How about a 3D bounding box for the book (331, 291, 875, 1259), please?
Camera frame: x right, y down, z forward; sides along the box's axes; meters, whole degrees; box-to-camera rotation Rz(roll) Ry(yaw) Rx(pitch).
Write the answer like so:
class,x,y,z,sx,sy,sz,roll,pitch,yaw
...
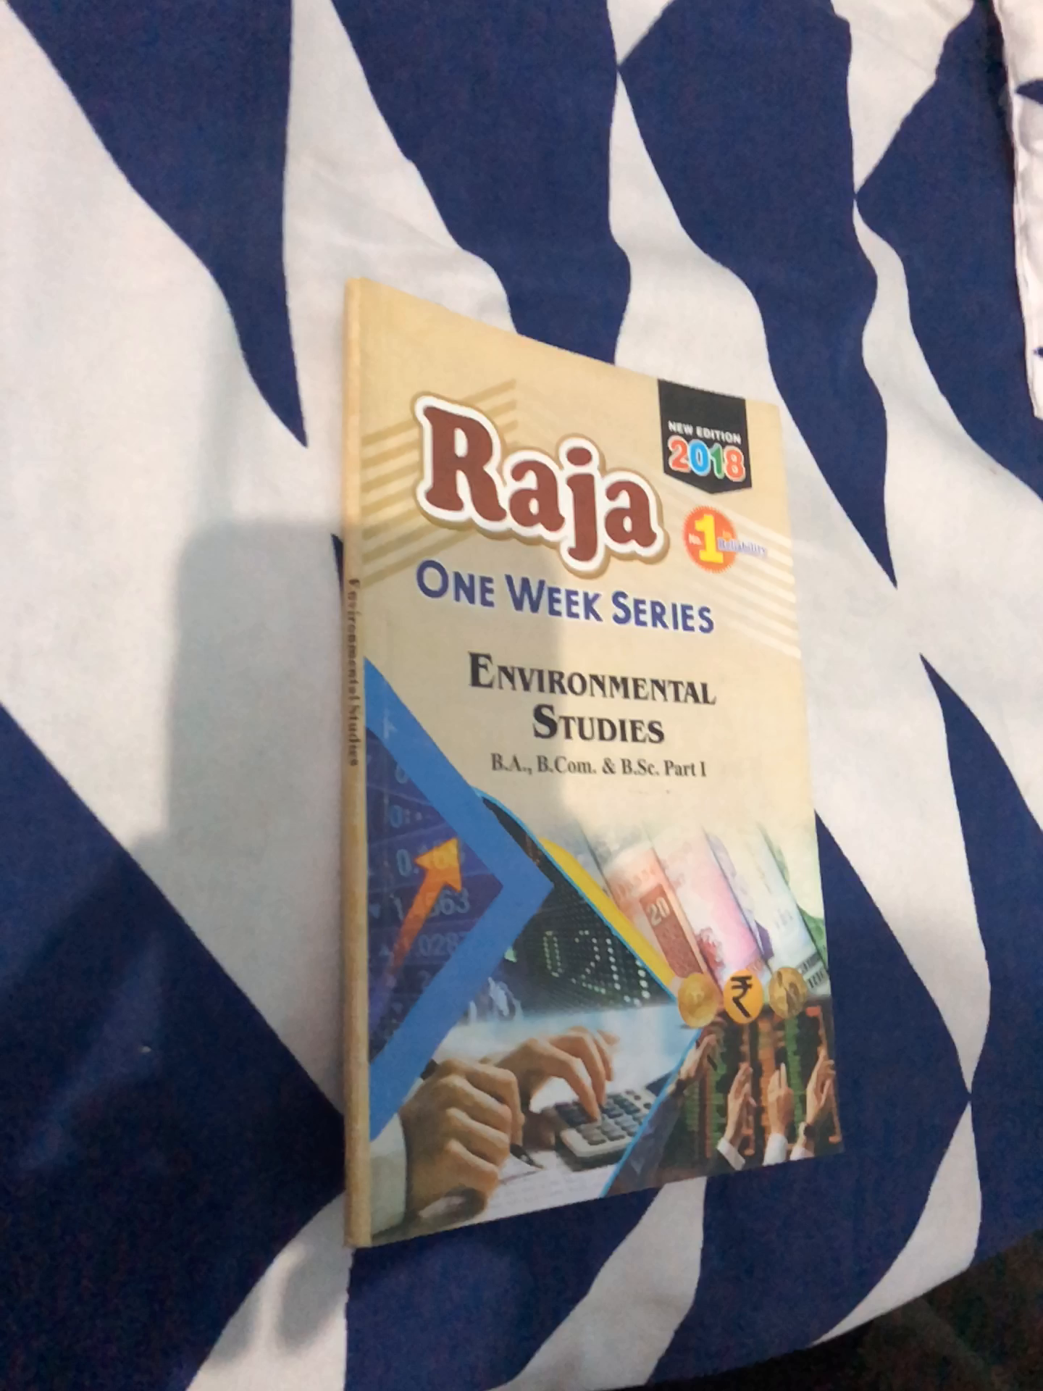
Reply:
class,x,y,z,sx,sy,sz,roll,pitch,yaw
book,0.022,0.014,0.279,0.141,0.010,0.200,5,77,-31
